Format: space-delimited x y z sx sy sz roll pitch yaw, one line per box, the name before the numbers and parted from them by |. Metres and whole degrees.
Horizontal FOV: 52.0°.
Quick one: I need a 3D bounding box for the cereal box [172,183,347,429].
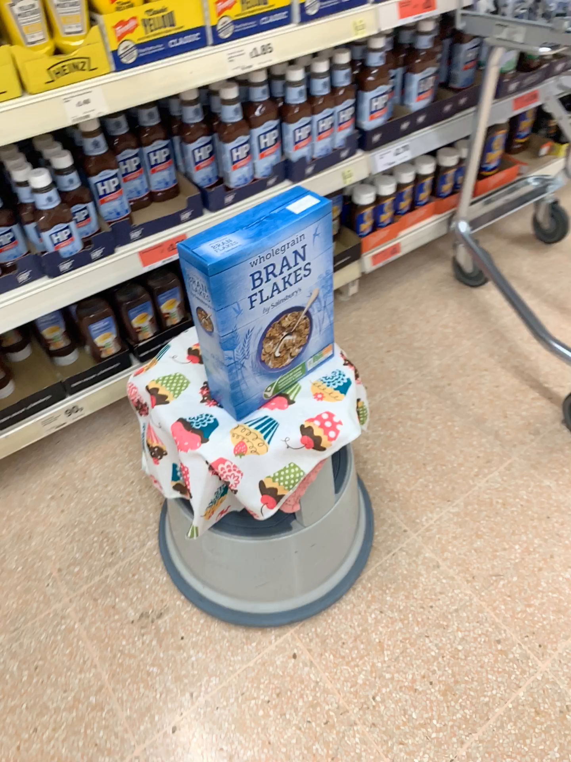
cereal box | -0.019 -0.098 0.796 0.211 0.257 0.080 -34 51 -27
